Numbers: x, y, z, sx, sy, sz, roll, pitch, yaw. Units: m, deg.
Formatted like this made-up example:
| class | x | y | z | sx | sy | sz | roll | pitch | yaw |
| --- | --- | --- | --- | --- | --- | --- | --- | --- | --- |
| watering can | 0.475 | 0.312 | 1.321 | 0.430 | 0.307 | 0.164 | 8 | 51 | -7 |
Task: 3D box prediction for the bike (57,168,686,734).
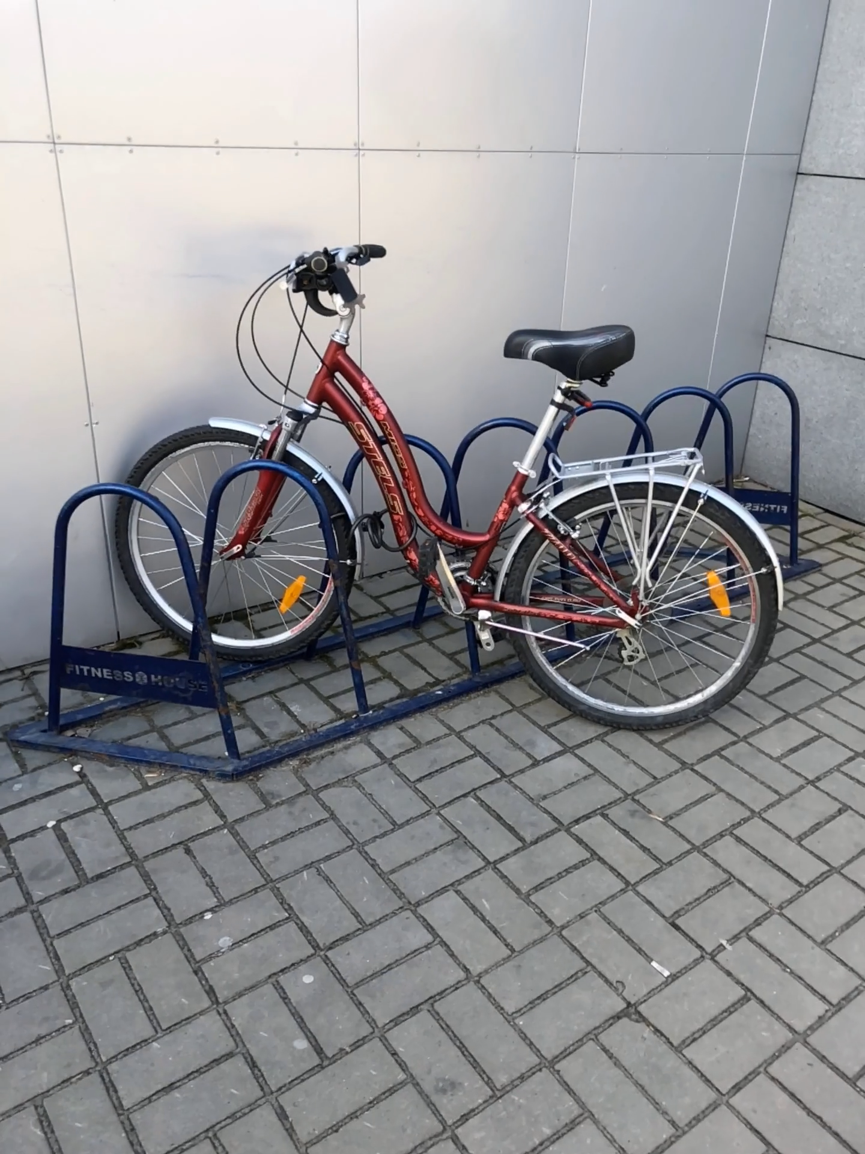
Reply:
| class | x | y | z | sx | sy | sz | roll | pitch | yaw |
| --- | --- | --- | --- | --- | --- | --- | --- | --- | --- |
| bike | -0.125 | -0.362 | 2.316 | 1.305 | 0.972 | 0.599 | 12 | 27 | 10 |
